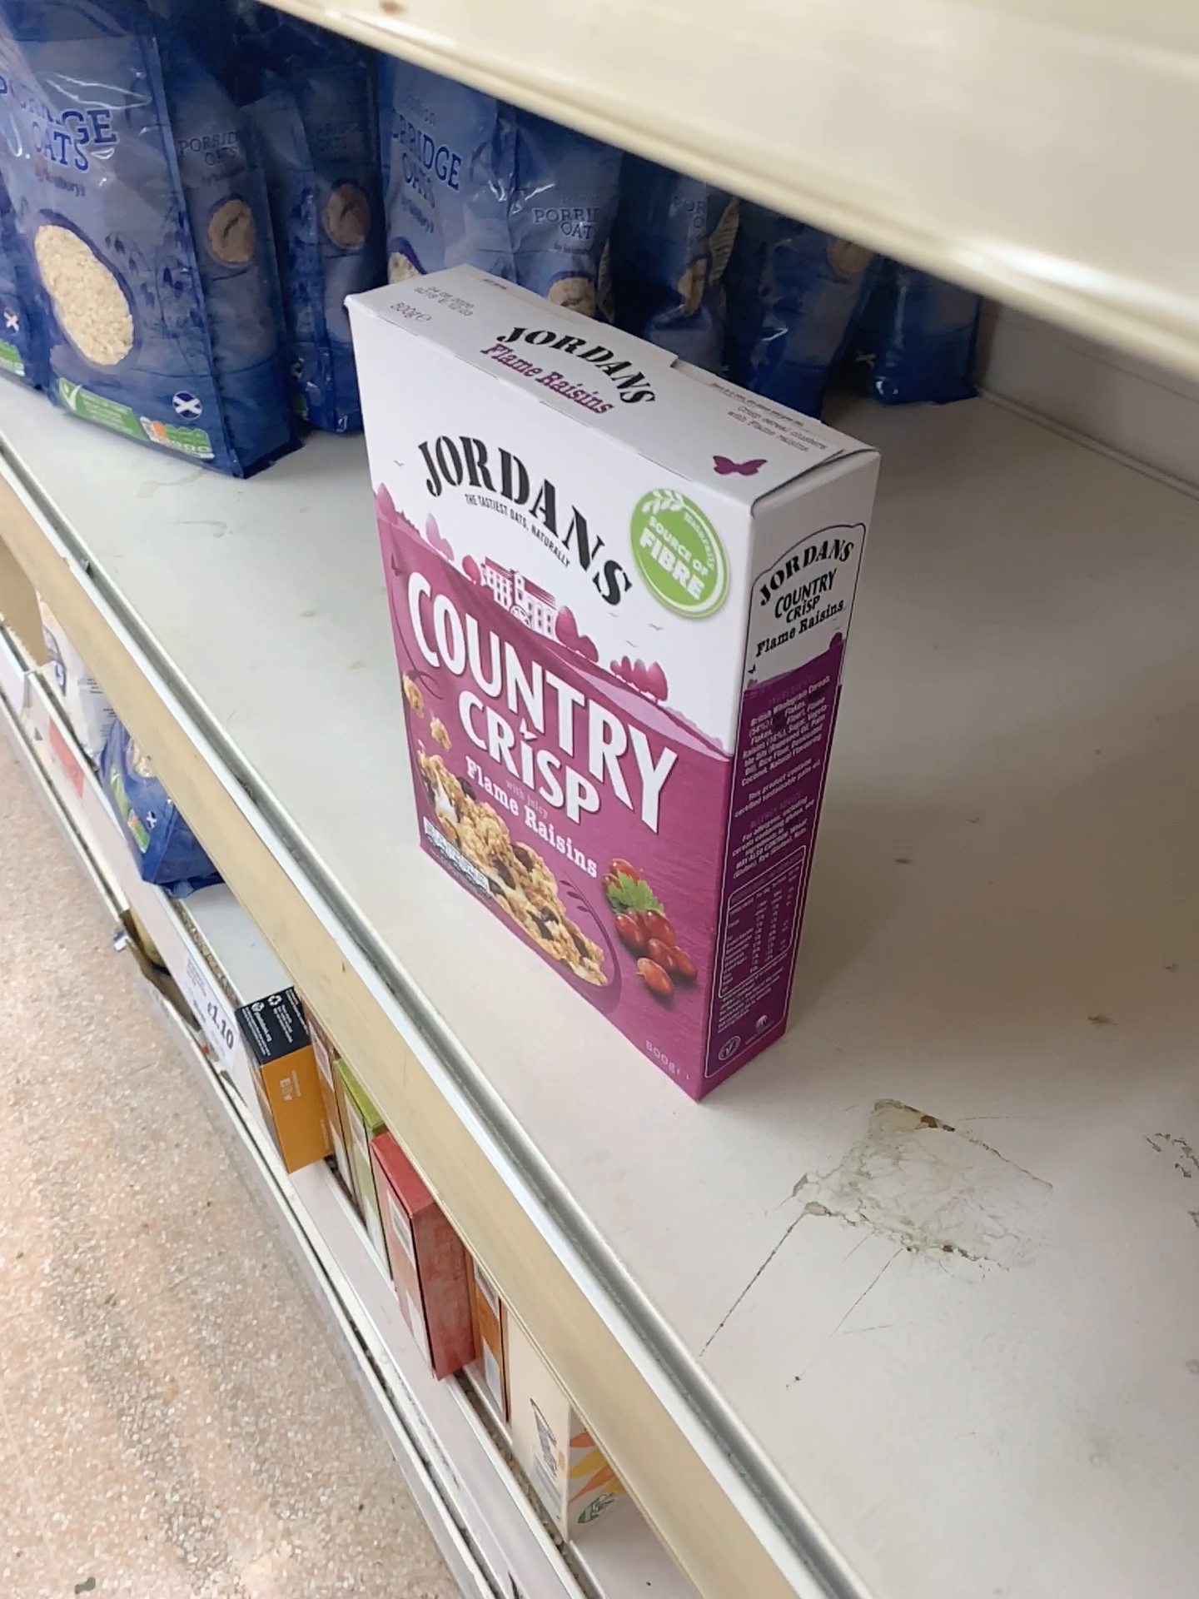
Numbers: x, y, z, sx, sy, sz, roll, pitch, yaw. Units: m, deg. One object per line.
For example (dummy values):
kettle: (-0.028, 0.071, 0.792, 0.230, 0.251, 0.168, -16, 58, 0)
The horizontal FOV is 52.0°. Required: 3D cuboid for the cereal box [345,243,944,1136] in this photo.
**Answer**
cereal box: (0.000, -0.033, 0.441, 0.050, 0.258, 0.201, -30, 50, -30)
